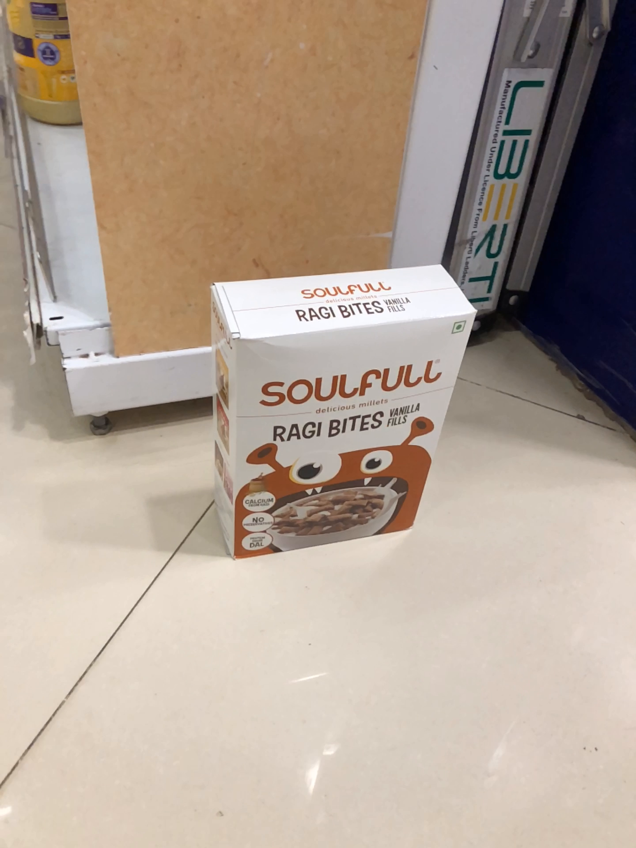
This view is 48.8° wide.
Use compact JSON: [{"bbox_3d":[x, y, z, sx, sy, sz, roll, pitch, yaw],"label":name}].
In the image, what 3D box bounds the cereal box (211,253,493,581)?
[{"bbox_3d":[0.011,0.004,0.537,0.170,0.248,0.070,-8,45,-15],"label":"cereal box"}]
